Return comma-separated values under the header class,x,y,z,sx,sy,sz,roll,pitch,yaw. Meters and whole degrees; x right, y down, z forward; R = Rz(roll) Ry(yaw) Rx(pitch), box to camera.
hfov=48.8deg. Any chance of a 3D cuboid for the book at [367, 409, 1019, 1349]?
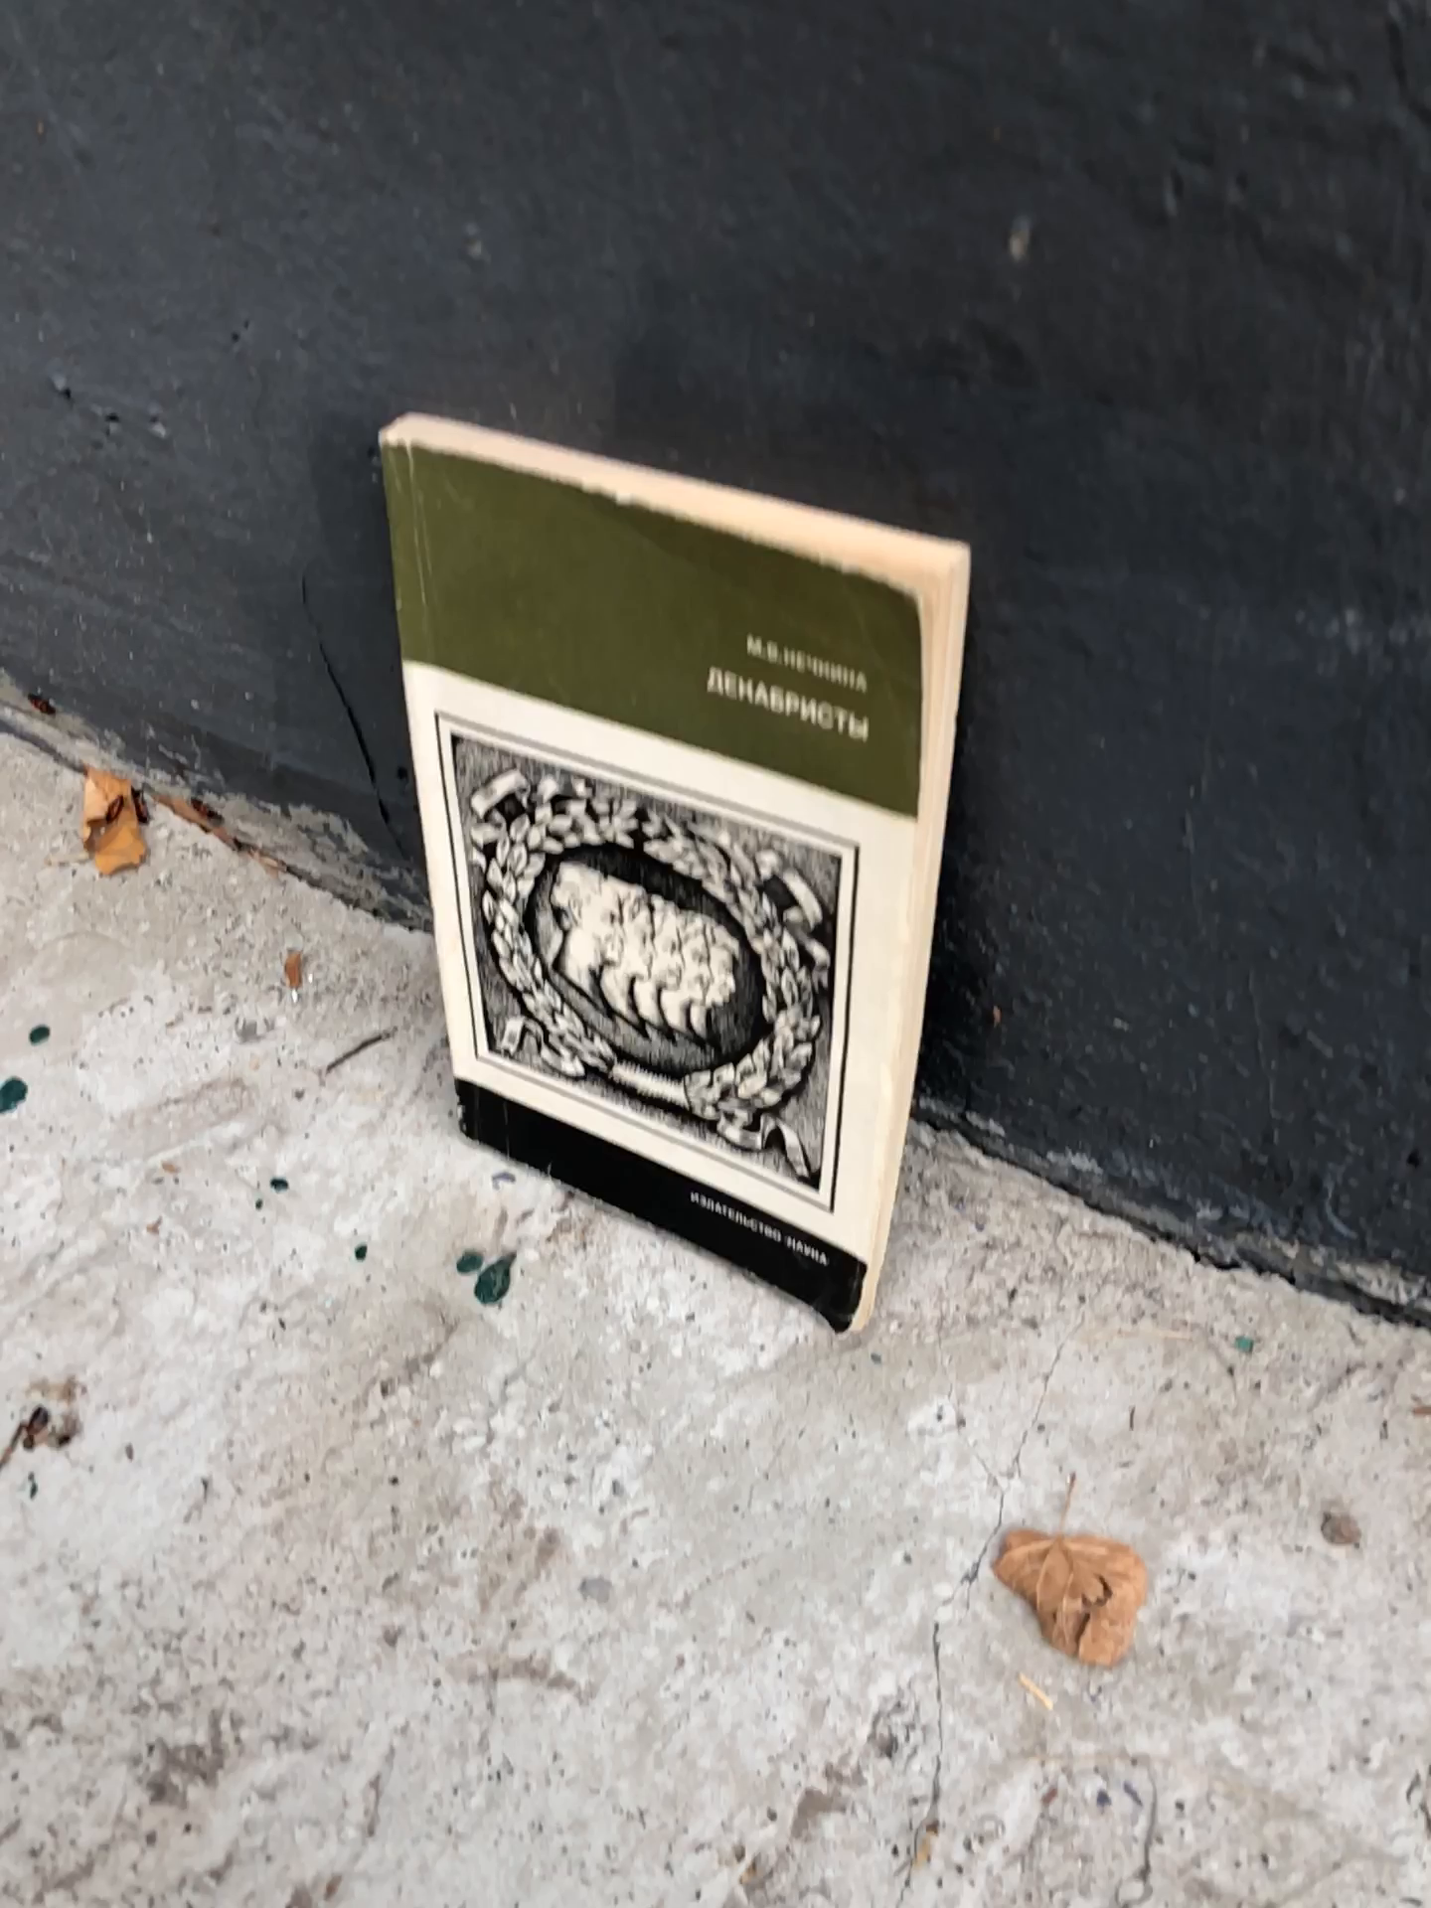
class,x,y,z,sx,sy,sz,roll,pitch,yaw
book,-0.012,-0.010,0.320,0.120,0.169,0.020,21,38,24
